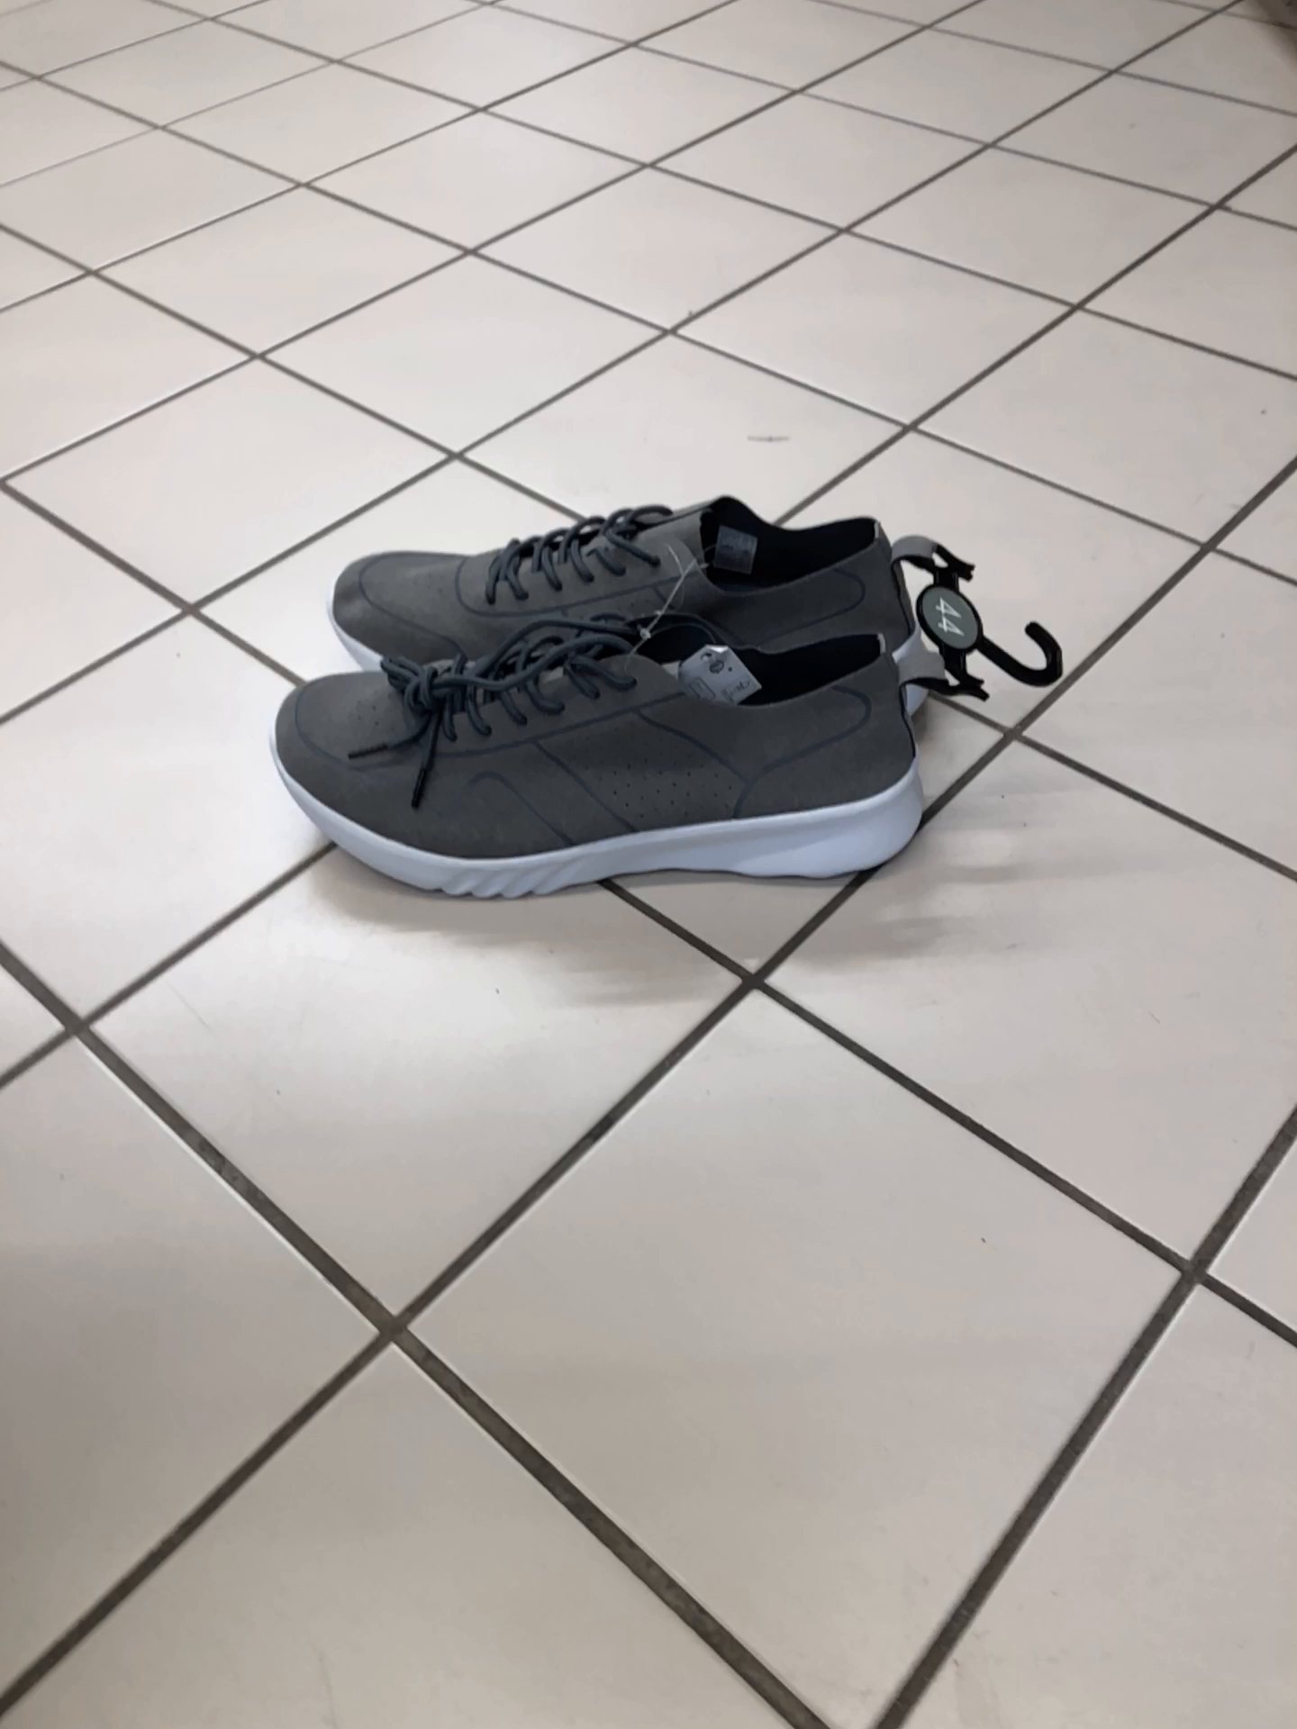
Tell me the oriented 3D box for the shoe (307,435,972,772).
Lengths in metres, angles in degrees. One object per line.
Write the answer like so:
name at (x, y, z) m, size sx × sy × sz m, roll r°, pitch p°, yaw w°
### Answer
shoe at (0.002, -0.128, 0.689) m, size 0.290 × 0.099 × 0.111 m, roll 4°, pitch 48°, yaw 7°

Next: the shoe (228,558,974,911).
shoe at (-0.015, -0.059, 0.624) m, size 0.290 × 0.099 × 0.111 m, roll 2°, pitch 47°, yaw 4°
